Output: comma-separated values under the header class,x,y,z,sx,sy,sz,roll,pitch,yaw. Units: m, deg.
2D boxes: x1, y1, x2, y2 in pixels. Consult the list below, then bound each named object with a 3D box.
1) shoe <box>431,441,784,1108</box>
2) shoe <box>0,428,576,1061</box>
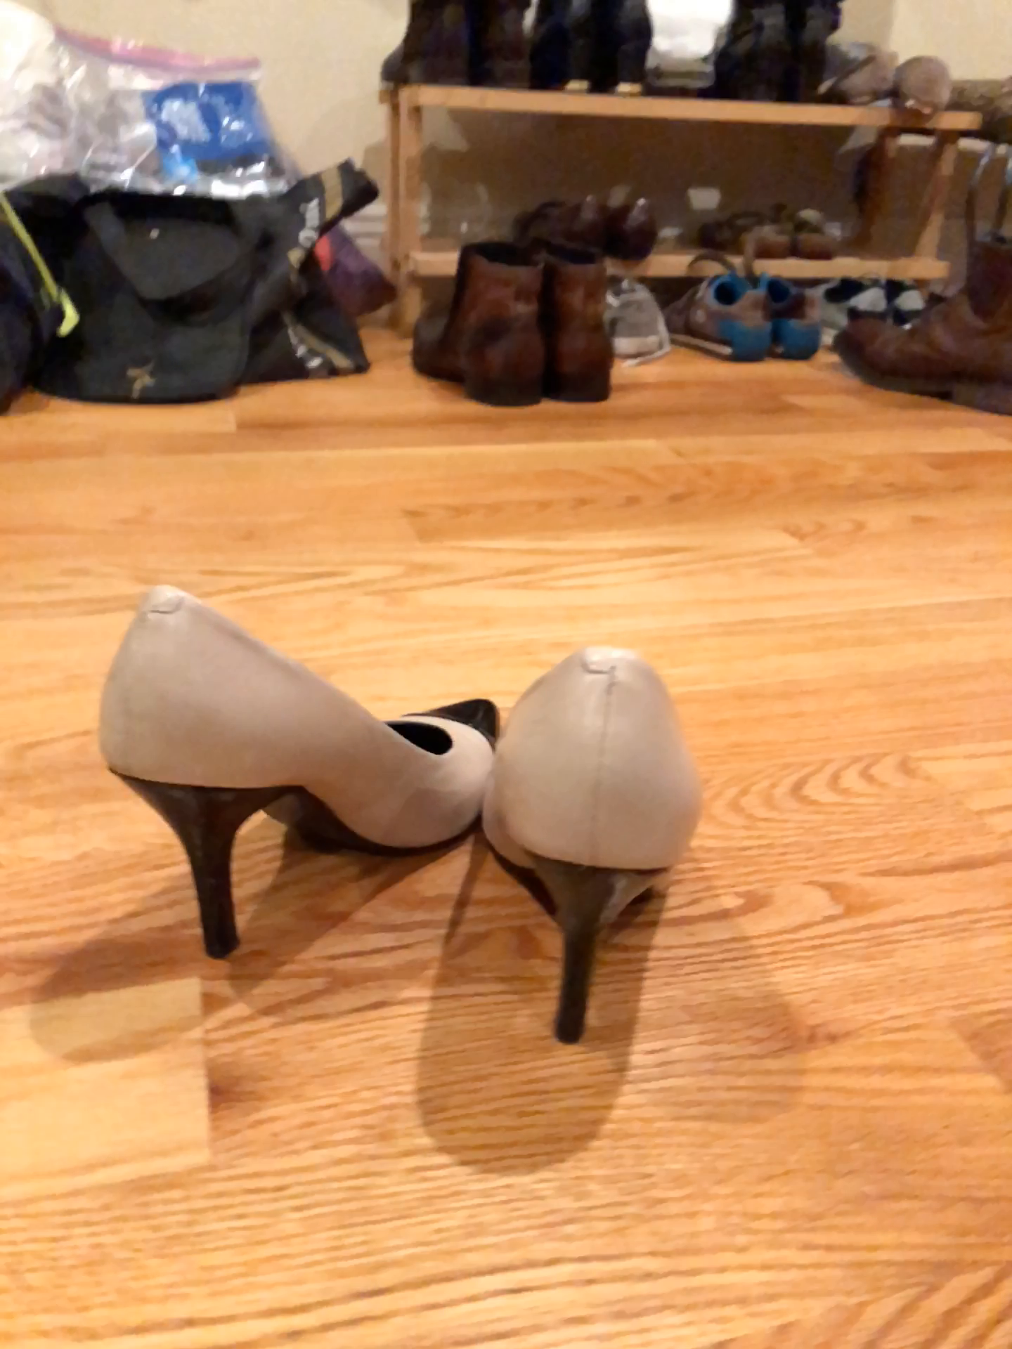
class,x,y,z,sx,sy,sz,roll,pitch,yaw
shoe,0.027,0.014,0.411,0.085,0.138,0.236,3,26,1
shoe,-0.070,0.003,0.424,0.085,0.138,0.236,17,29,27
